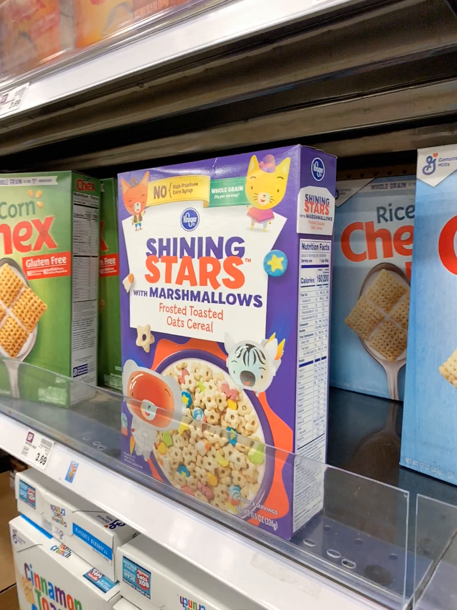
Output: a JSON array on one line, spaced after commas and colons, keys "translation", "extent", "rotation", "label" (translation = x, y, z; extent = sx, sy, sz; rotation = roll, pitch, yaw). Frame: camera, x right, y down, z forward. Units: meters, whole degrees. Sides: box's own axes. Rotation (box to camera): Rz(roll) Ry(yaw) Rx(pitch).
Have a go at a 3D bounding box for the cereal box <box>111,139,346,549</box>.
[{"translation": [-0.011, 0.022, 0.388], "extent": [0.200, 0.270, 0.050], "rotation": [4, 7, 38], "label": "cereal box"}]
